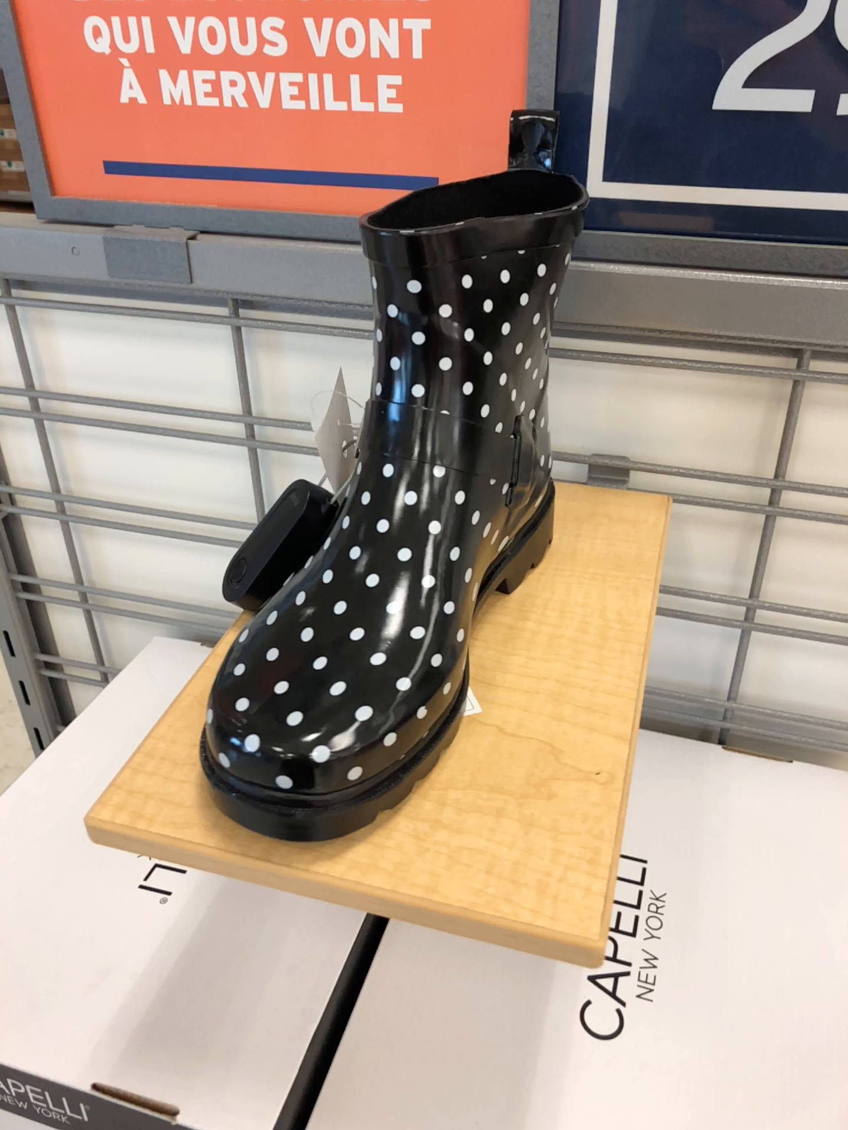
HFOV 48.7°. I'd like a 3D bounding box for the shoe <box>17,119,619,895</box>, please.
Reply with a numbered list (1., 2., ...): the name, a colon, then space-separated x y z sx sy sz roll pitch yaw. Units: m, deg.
1. shoe: -0.006 -0.050 0.366 0.095 0.188 0.262 11 35 18
